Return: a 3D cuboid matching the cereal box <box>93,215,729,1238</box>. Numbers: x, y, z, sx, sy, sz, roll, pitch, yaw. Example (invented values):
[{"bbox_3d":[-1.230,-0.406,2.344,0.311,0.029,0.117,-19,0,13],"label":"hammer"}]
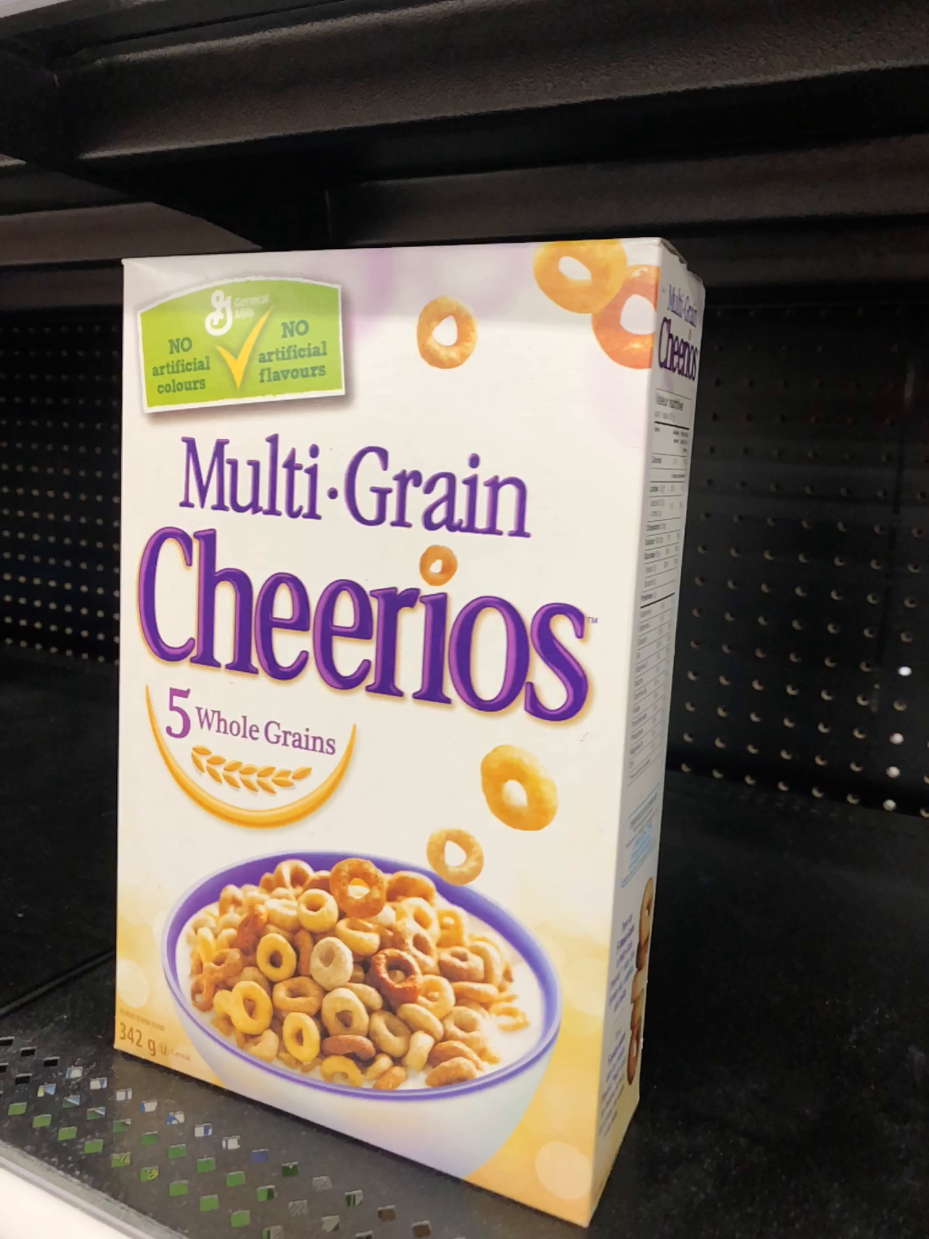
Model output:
[{"bbox_3d":[-0.028,0.024,0.357,0.200,0.289,0.070,7,9,26],"label":"cereal box"}]
